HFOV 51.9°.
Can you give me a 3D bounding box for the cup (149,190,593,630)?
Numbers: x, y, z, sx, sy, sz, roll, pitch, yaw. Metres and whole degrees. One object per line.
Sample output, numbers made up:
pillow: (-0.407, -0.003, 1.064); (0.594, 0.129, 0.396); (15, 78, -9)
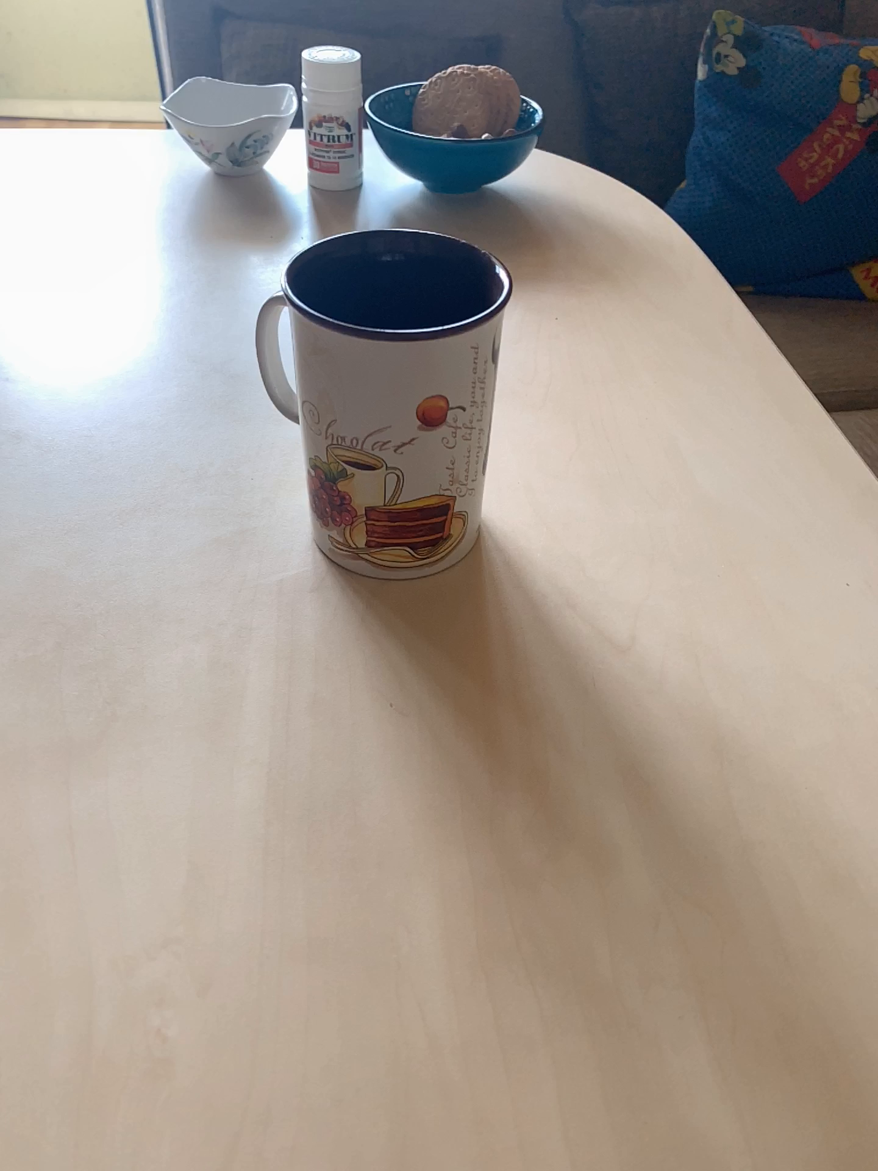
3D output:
cup: (-0.025, -0.074, 0.360); (0.130, 0.110, 0.090); (24, 47, 21)
